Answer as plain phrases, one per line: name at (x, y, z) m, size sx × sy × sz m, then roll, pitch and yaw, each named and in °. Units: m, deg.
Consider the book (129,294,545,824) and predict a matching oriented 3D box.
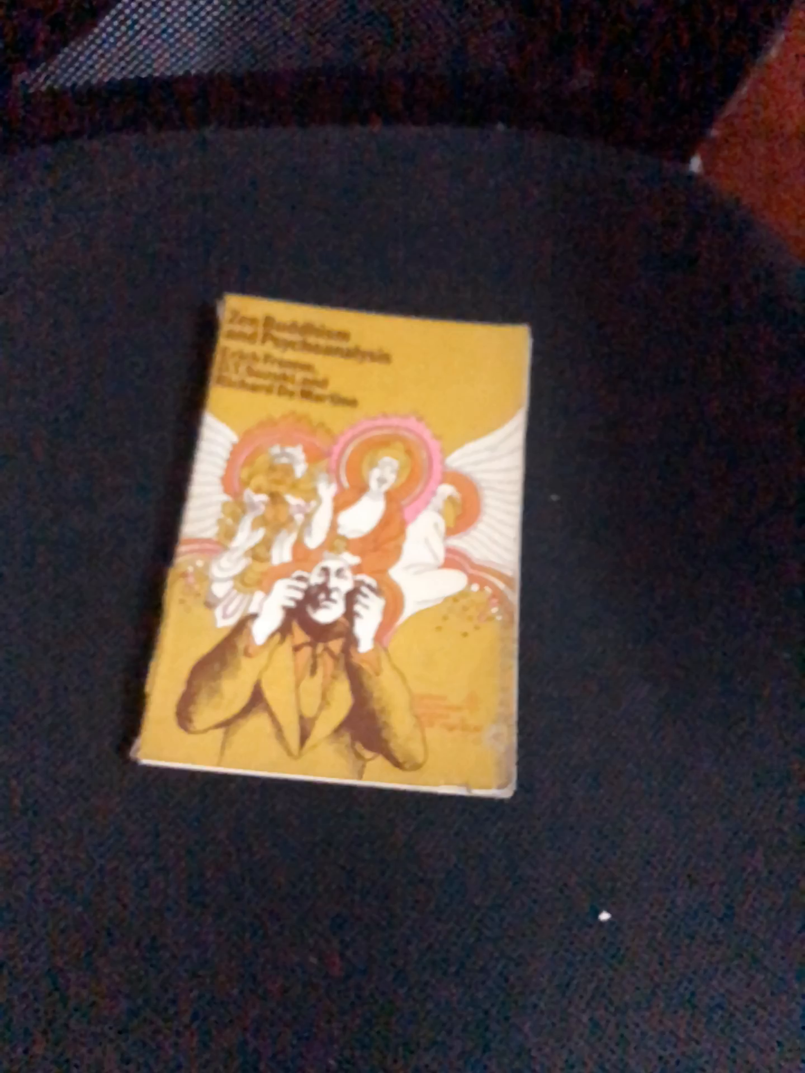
book at (-0.018, 0.001, 0.345) m, size 0.136 × 0.020 × 0.200 m, roll 4°, pitch 67°, yaw -4°
